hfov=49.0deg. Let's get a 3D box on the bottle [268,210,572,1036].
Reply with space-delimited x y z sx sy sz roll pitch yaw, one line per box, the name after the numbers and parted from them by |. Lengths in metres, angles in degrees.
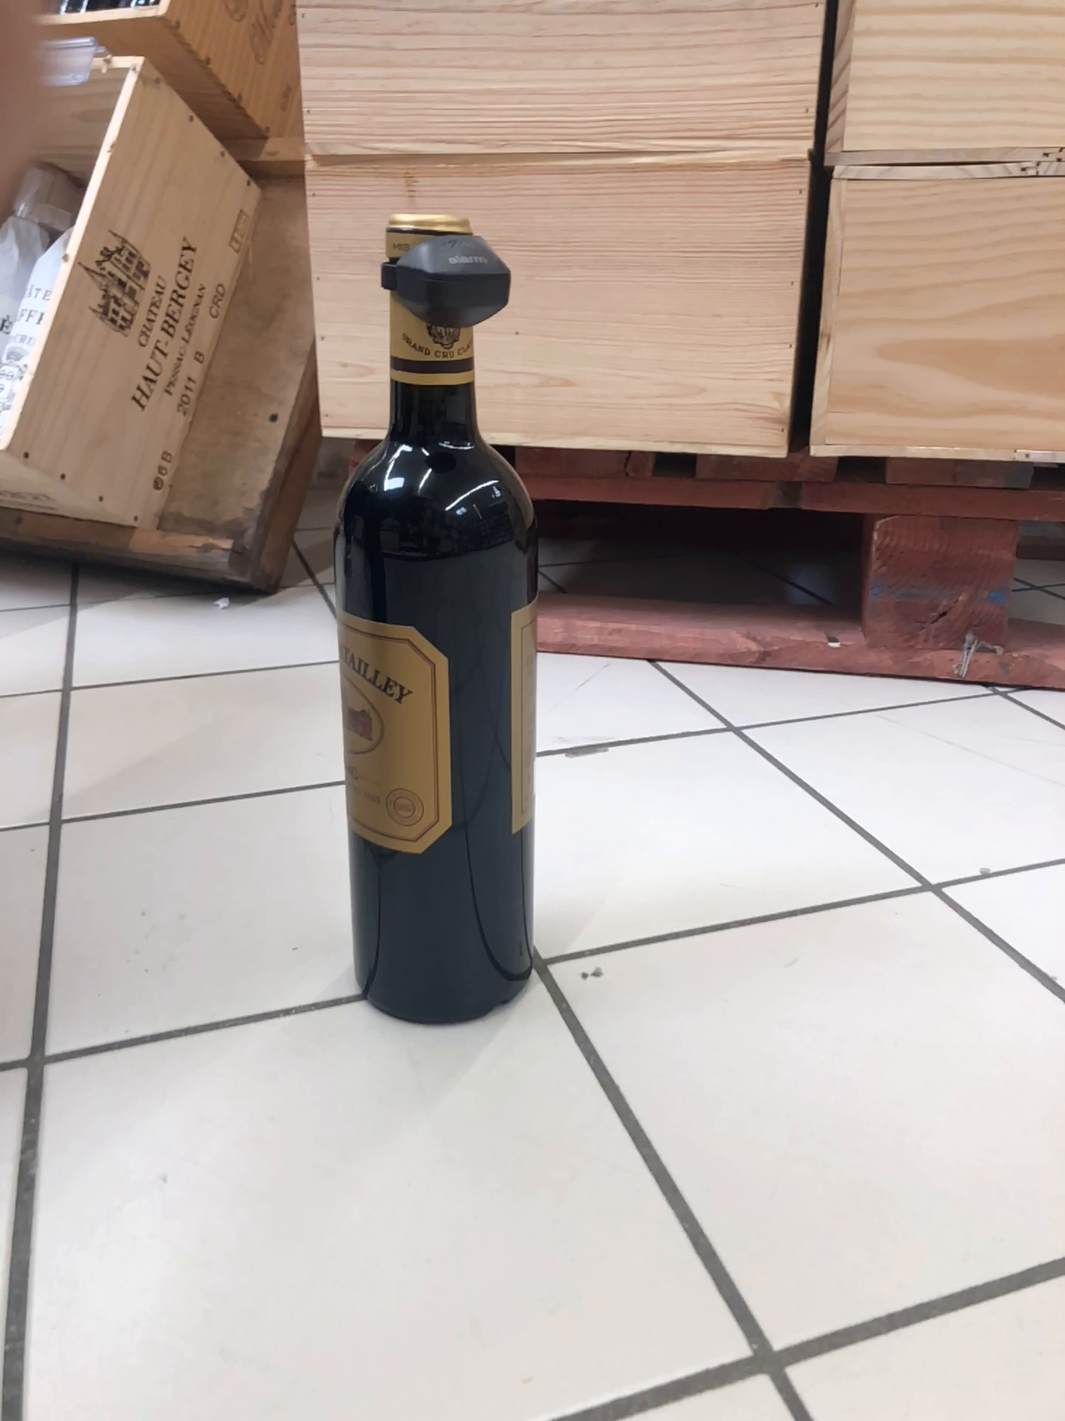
-0.041 -0.030 0.440 0.090 0.289 0.090 0 22 0 | bottle
